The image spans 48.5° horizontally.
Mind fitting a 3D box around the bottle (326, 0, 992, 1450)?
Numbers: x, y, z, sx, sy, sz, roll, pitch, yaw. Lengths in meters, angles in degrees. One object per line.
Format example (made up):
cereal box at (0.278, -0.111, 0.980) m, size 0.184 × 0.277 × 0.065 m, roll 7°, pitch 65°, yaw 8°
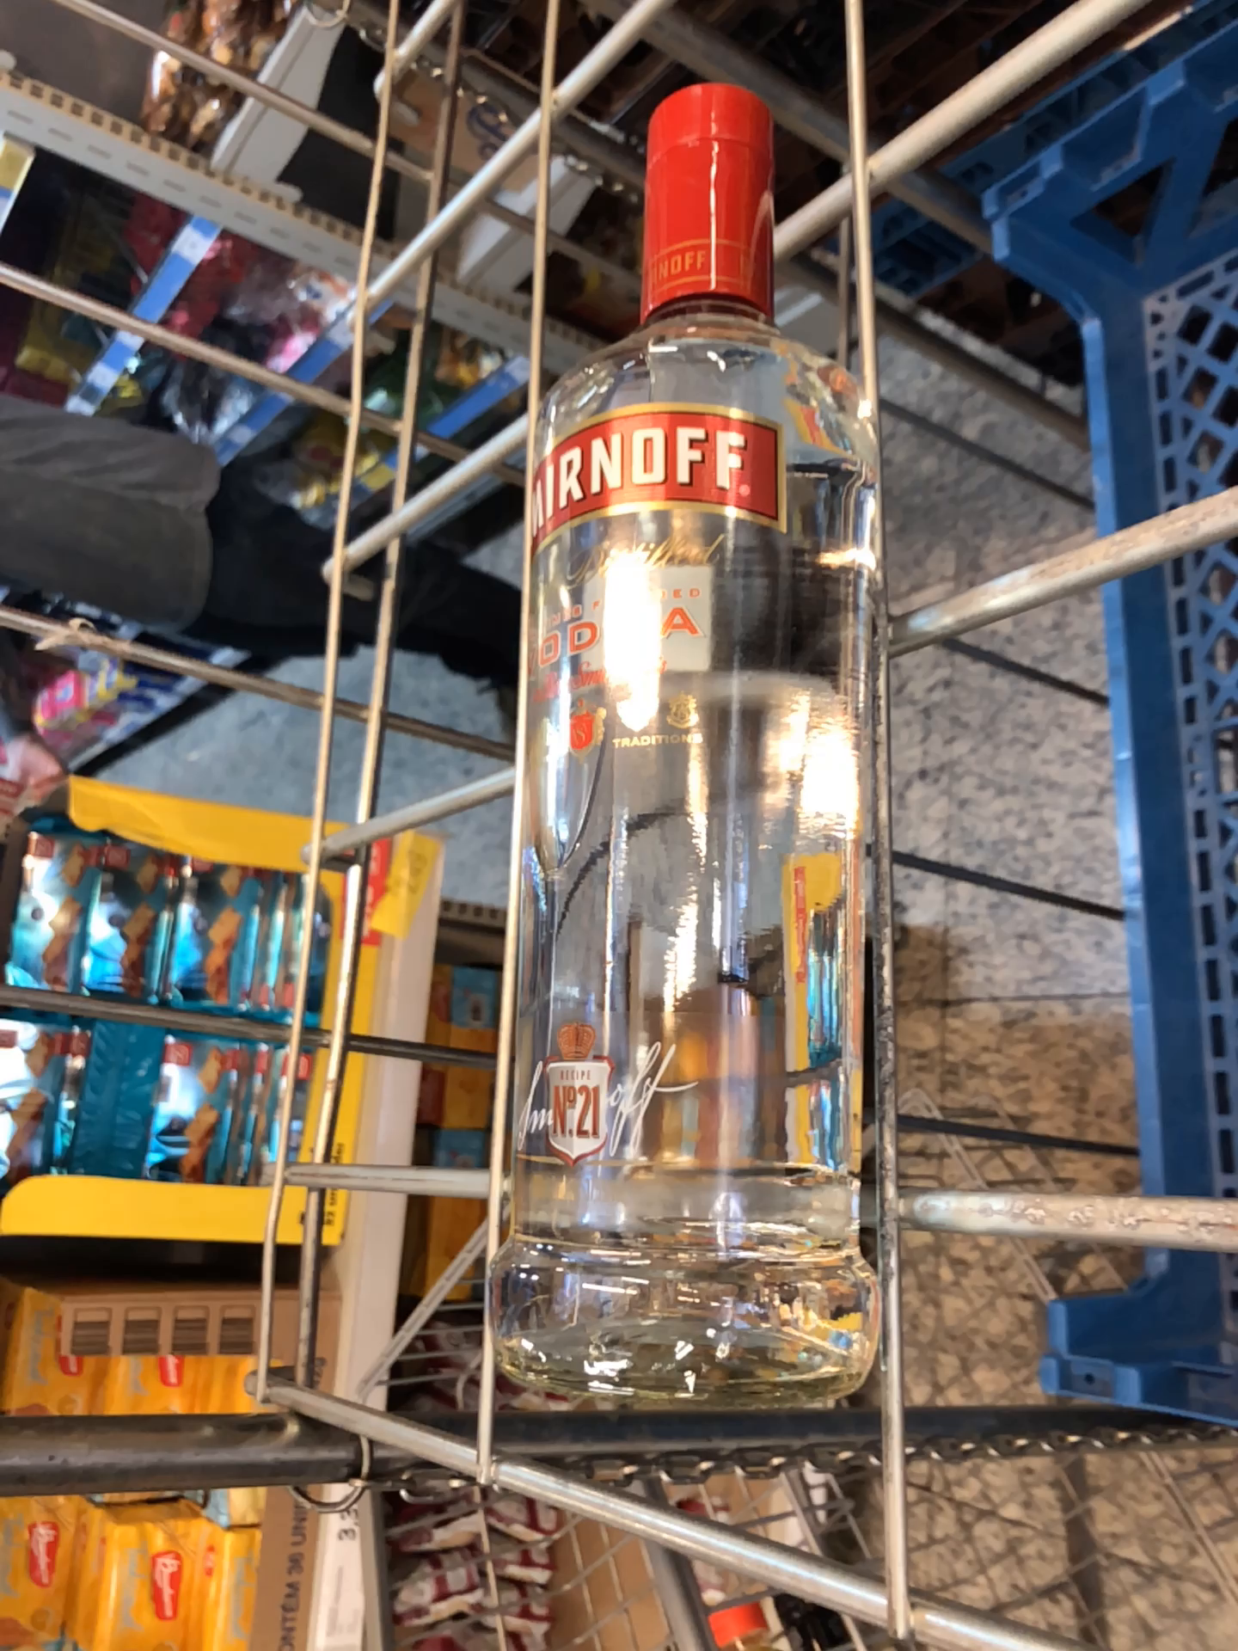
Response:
bottle at (0.011, -0.035, 0.324) m, size 0.101 × 0.099 × 0.310 m, roll -14°, pitch 70°, yaw 52°
